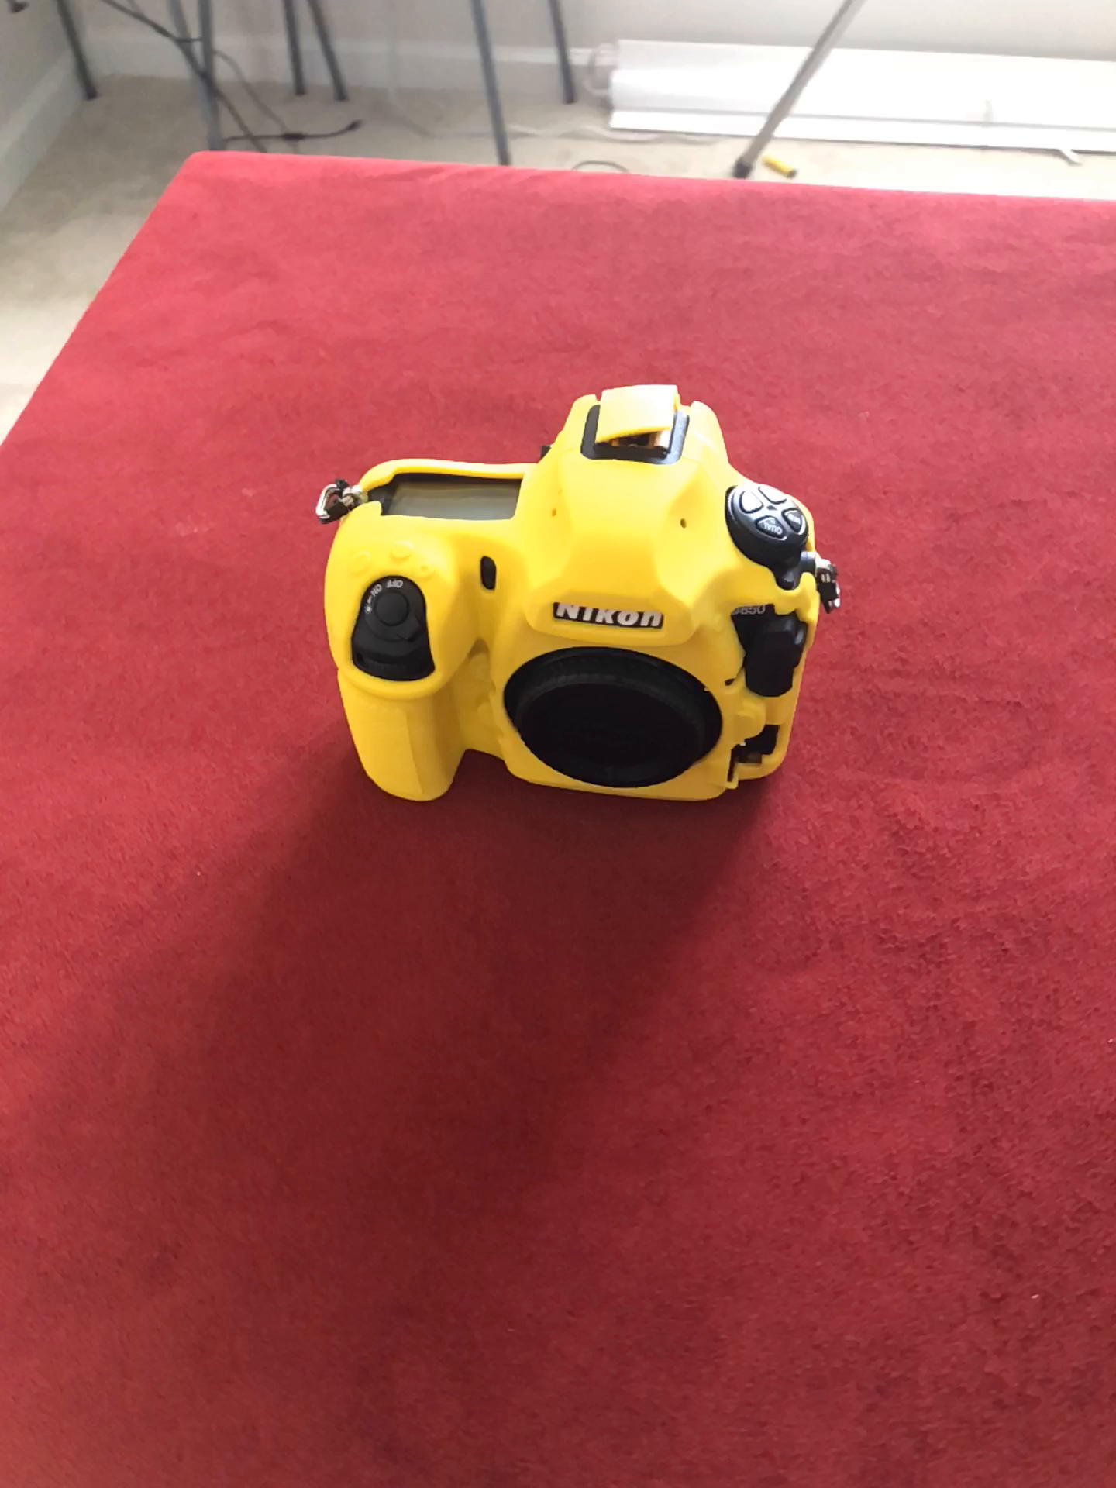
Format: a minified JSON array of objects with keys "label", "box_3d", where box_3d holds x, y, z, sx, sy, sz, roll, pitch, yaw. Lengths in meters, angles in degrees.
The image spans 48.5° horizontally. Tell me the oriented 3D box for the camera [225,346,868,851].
[{"label":"camera","box_3d":[0.003,-0.041,0.376,0.160,0.116,0.082,6,54,7]}]
